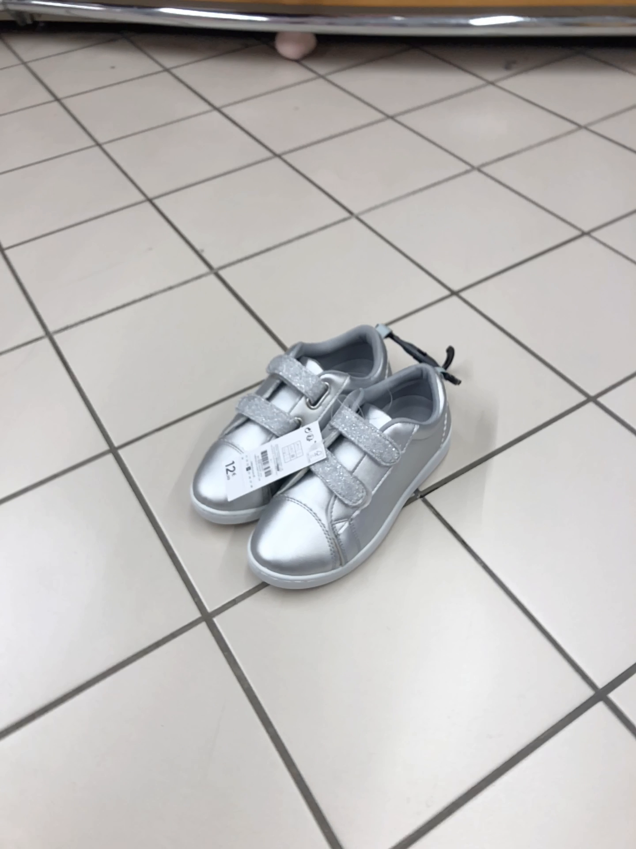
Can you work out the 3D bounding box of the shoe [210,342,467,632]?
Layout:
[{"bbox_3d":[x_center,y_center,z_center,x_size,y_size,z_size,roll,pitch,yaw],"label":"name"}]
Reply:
[{"bbox_3d":[0.025,0.041,0.569,0.090,0.086,0.216,26,54,25],"label":"shoe"}]

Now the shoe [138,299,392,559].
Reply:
[{"bbox_3d":[-0.035,-0.004,0.612,0.090,0.086,0.216,29,55,27],"label":"shoe"}]
